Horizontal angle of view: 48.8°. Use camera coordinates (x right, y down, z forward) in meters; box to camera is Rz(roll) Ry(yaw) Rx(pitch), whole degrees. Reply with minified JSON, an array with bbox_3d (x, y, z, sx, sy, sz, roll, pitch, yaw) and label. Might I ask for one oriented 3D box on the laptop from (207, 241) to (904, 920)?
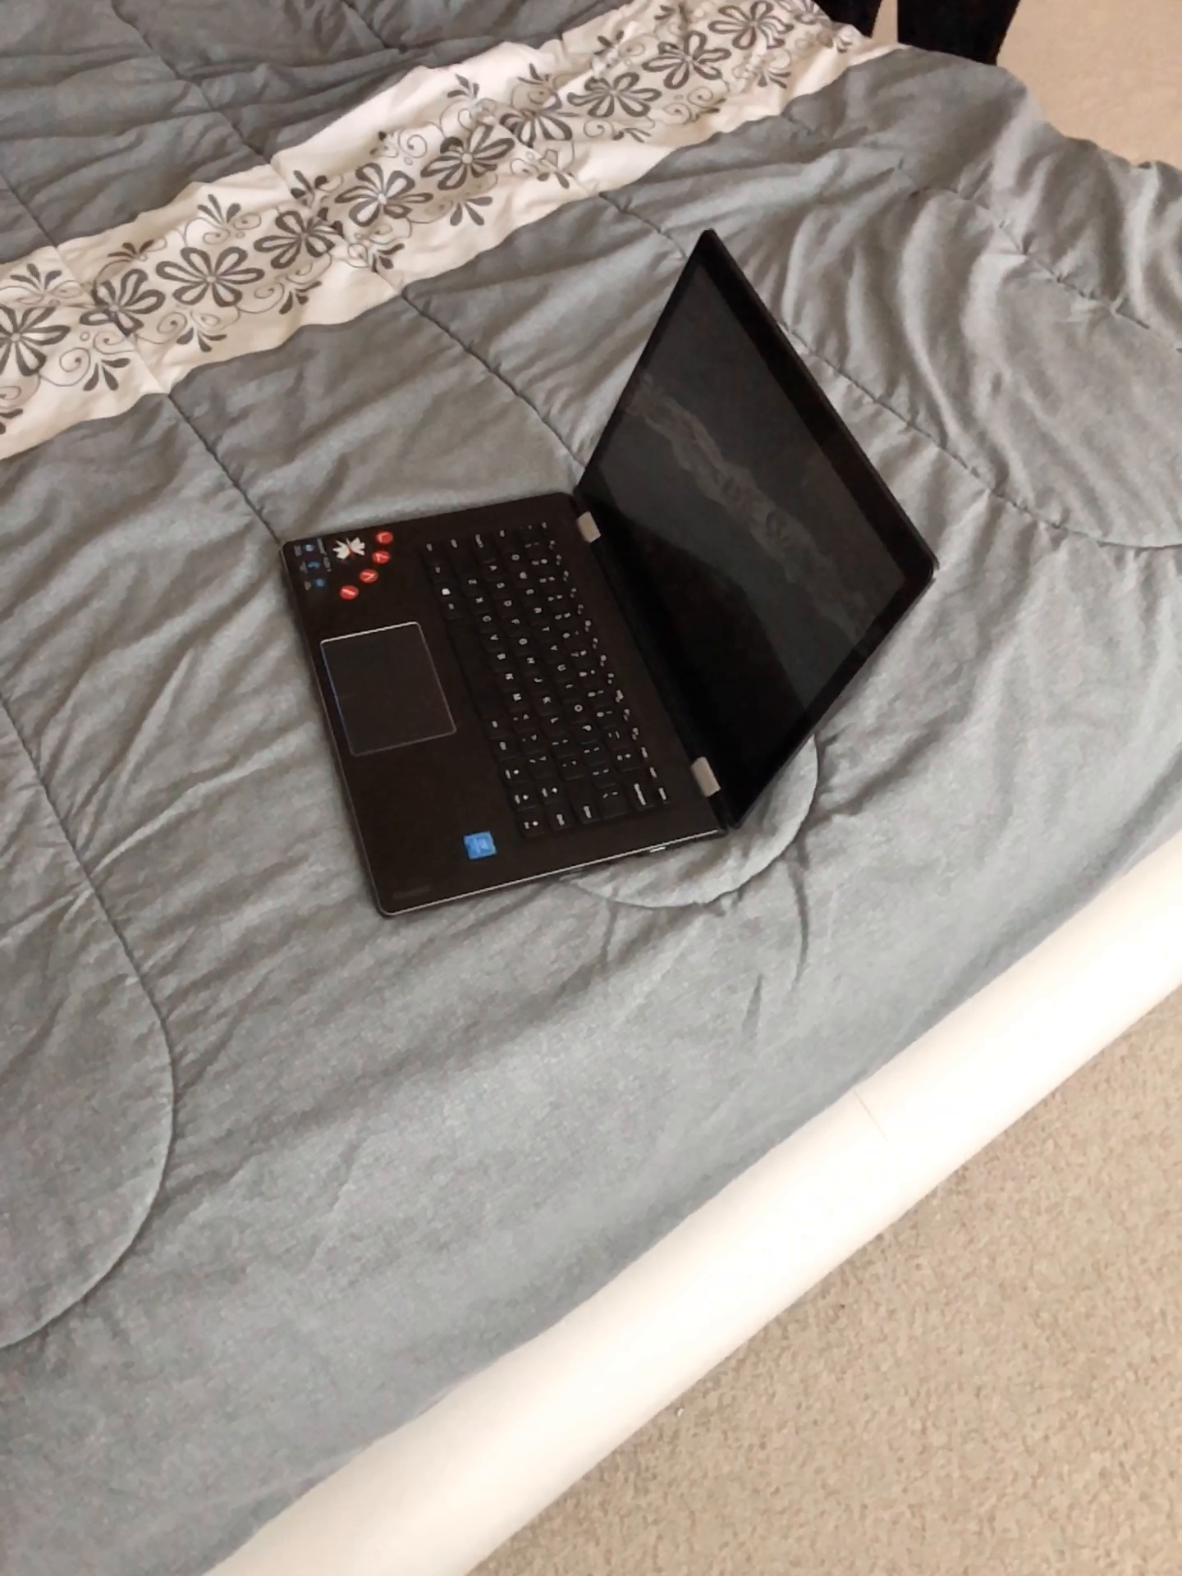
[{"bbox_3d":[-0.034,-0.157,0.913,0.351,0.214,0.362,-15,57,-11],"label":"laptop"}]
